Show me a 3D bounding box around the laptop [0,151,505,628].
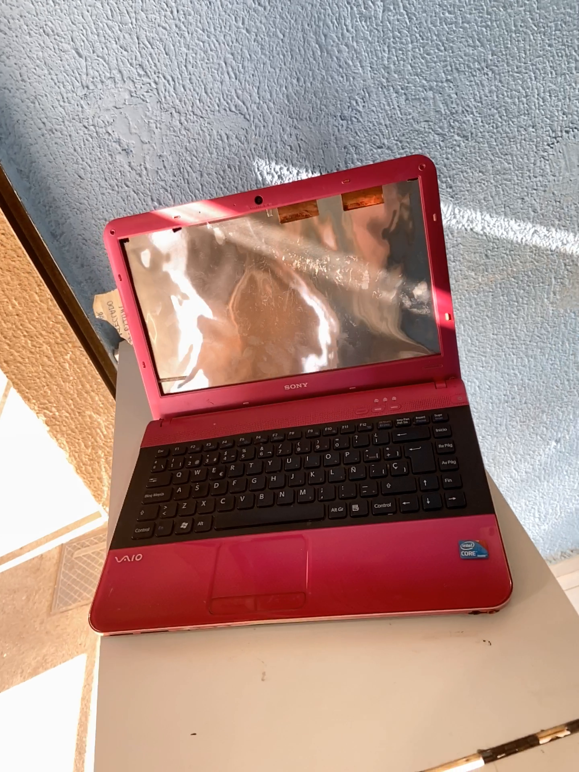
[{"bbox_3d":[-0.020,-0.009,0.524,0.330,0.187,0.341,-8,41,12],"label":"laptop"}]
